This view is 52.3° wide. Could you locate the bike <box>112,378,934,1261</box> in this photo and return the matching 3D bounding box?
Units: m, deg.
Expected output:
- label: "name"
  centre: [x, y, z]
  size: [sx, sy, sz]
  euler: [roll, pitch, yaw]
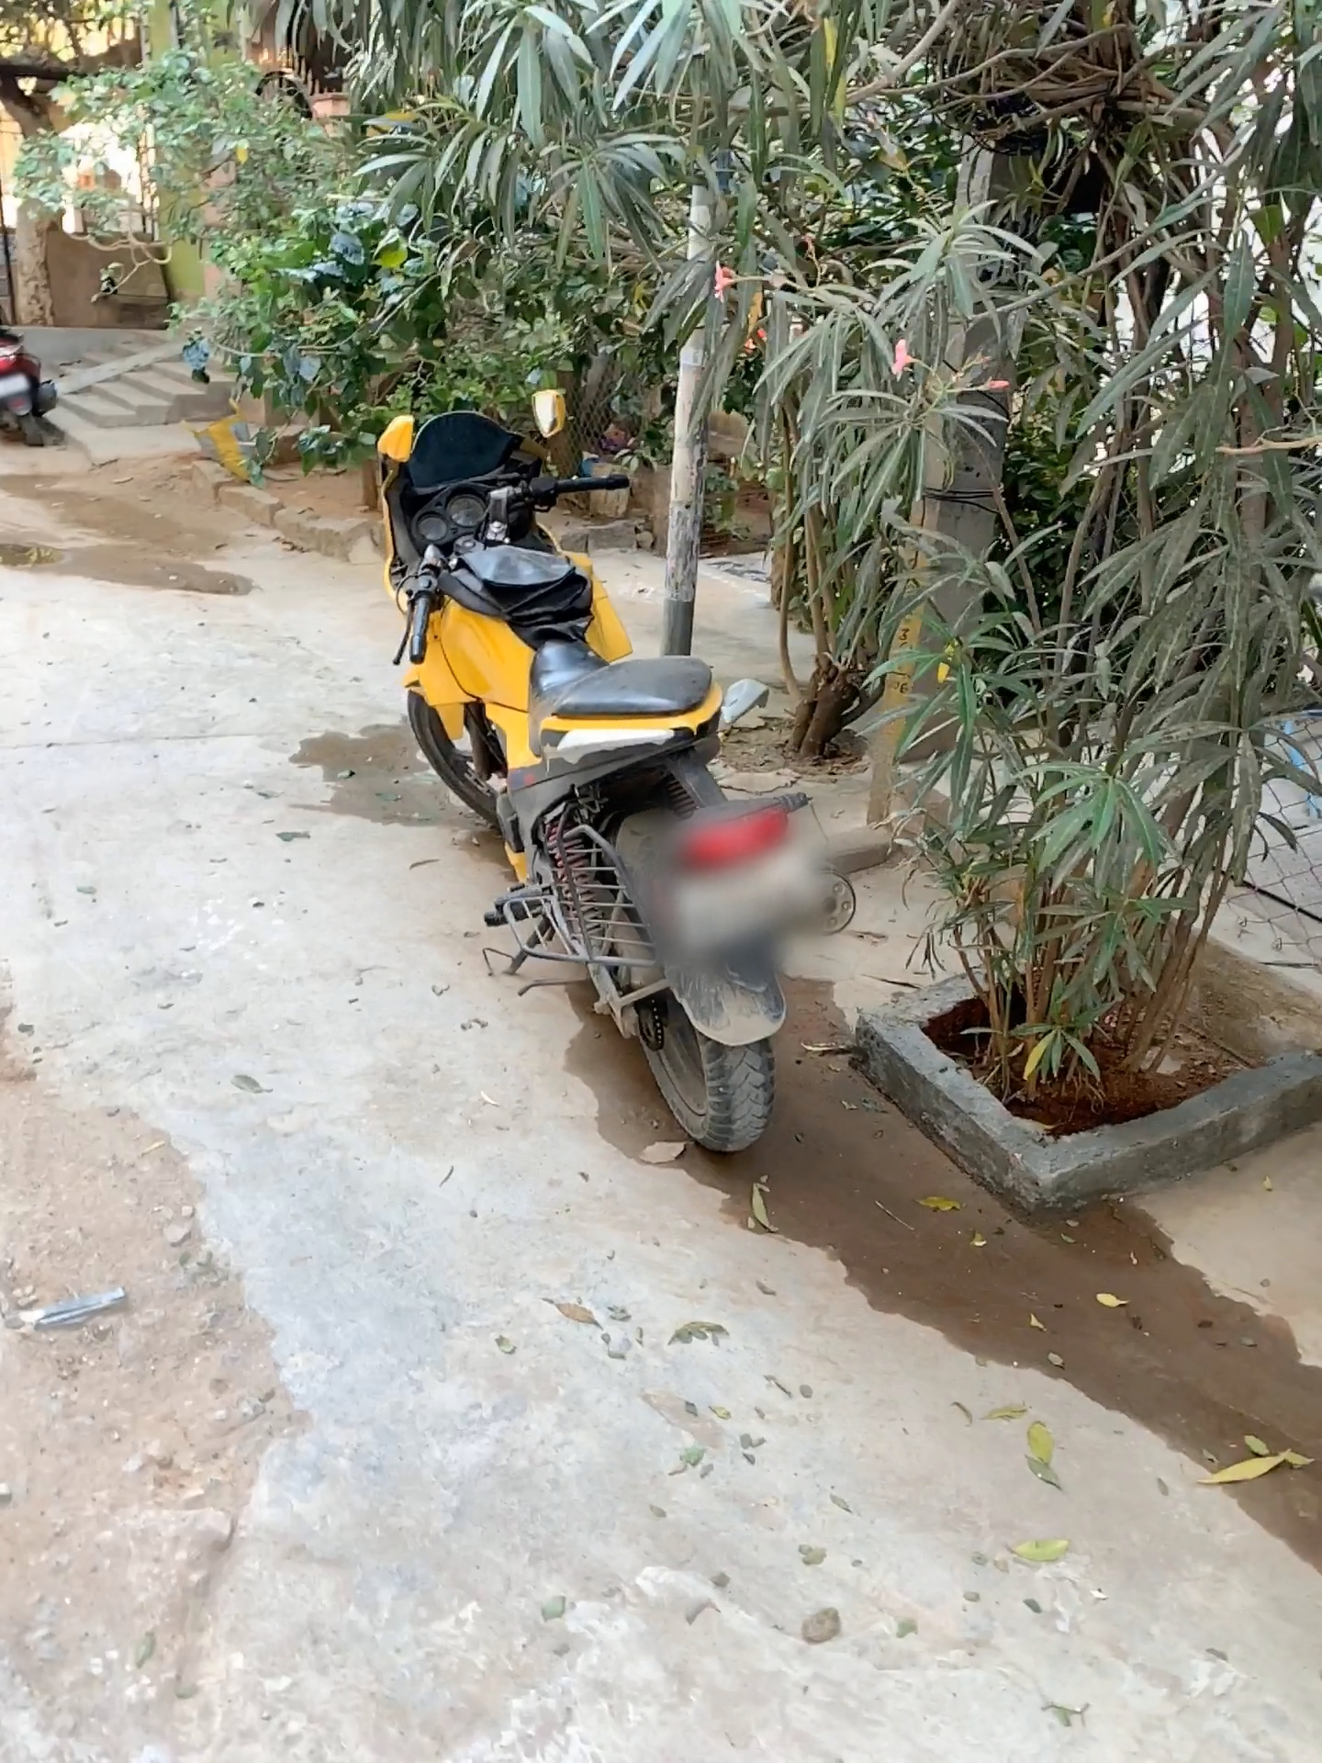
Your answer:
- label: "bike"
  centre: [-0.447, -0.302, 2.668]
  size: [0.853, 0.954, 1.753]
  euler: [-8, 31, -26]
